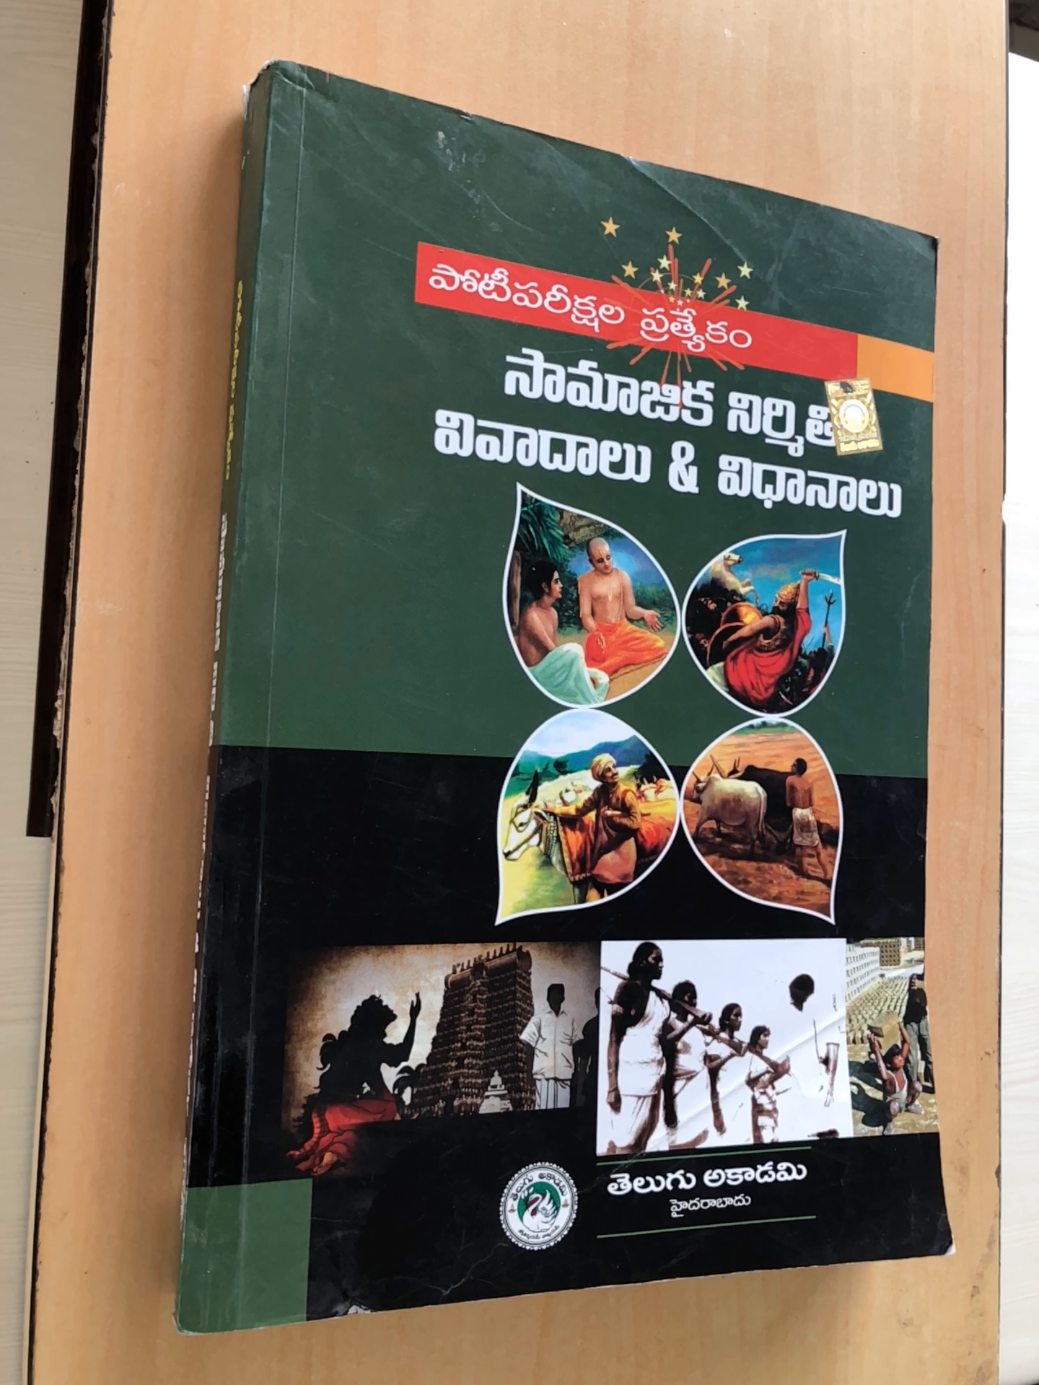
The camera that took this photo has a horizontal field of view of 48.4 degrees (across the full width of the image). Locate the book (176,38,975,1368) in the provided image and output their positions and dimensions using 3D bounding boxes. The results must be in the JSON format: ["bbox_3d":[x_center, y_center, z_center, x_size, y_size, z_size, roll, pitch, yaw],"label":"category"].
[{"bbox_3d":[0.022,0.003,0.292,0.190,0.050,0.270,4,85,-22],"label":"book"}]
